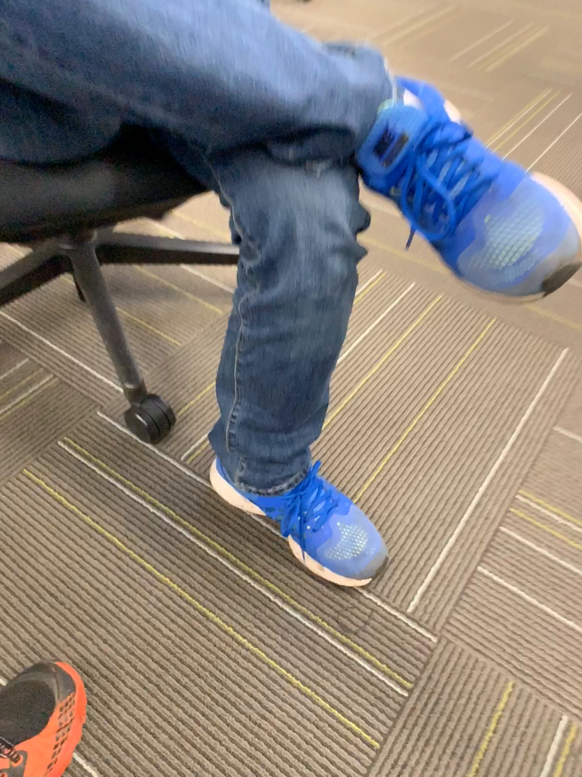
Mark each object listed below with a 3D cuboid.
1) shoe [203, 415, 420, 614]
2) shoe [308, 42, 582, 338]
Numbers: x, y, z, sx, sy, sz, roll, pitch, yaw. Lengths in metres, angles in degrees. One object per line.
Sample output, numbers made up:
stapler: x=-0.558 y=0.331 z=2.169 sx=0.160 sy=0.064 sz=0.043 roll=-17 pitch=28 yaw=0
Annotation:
shoe: x=0.020 y=0.164 z=0.820 sx=0.284 sy=0.086 sz=0.101 roll=31 pitch=53 yaw=25
shoe: x=0.145 y=-0.175 z=0.509 sx=0.103 sy=0.117 sz=0.276 roll=0 pitch=40 yaw=-38
